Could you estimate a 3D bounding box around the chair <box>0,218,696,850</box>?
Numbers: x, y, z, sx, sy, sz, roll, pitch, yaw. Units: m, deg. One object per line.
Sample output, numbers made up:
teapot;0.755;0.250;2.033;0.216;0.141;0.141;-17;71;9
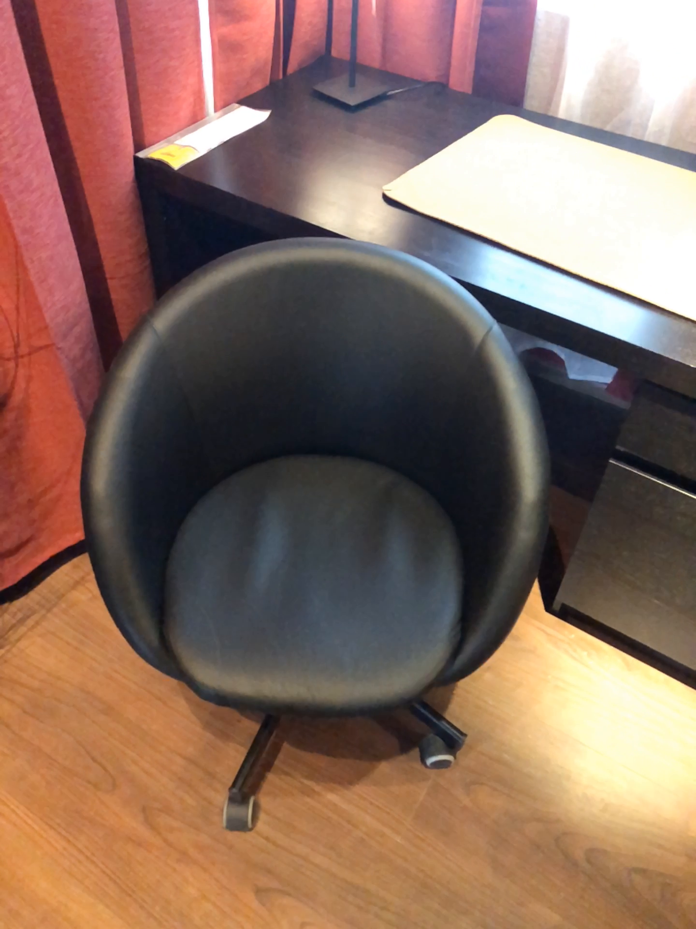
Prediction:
chair;-0.033;0.117;1.080;0.630;0.696;0.573;-1;47;-3
